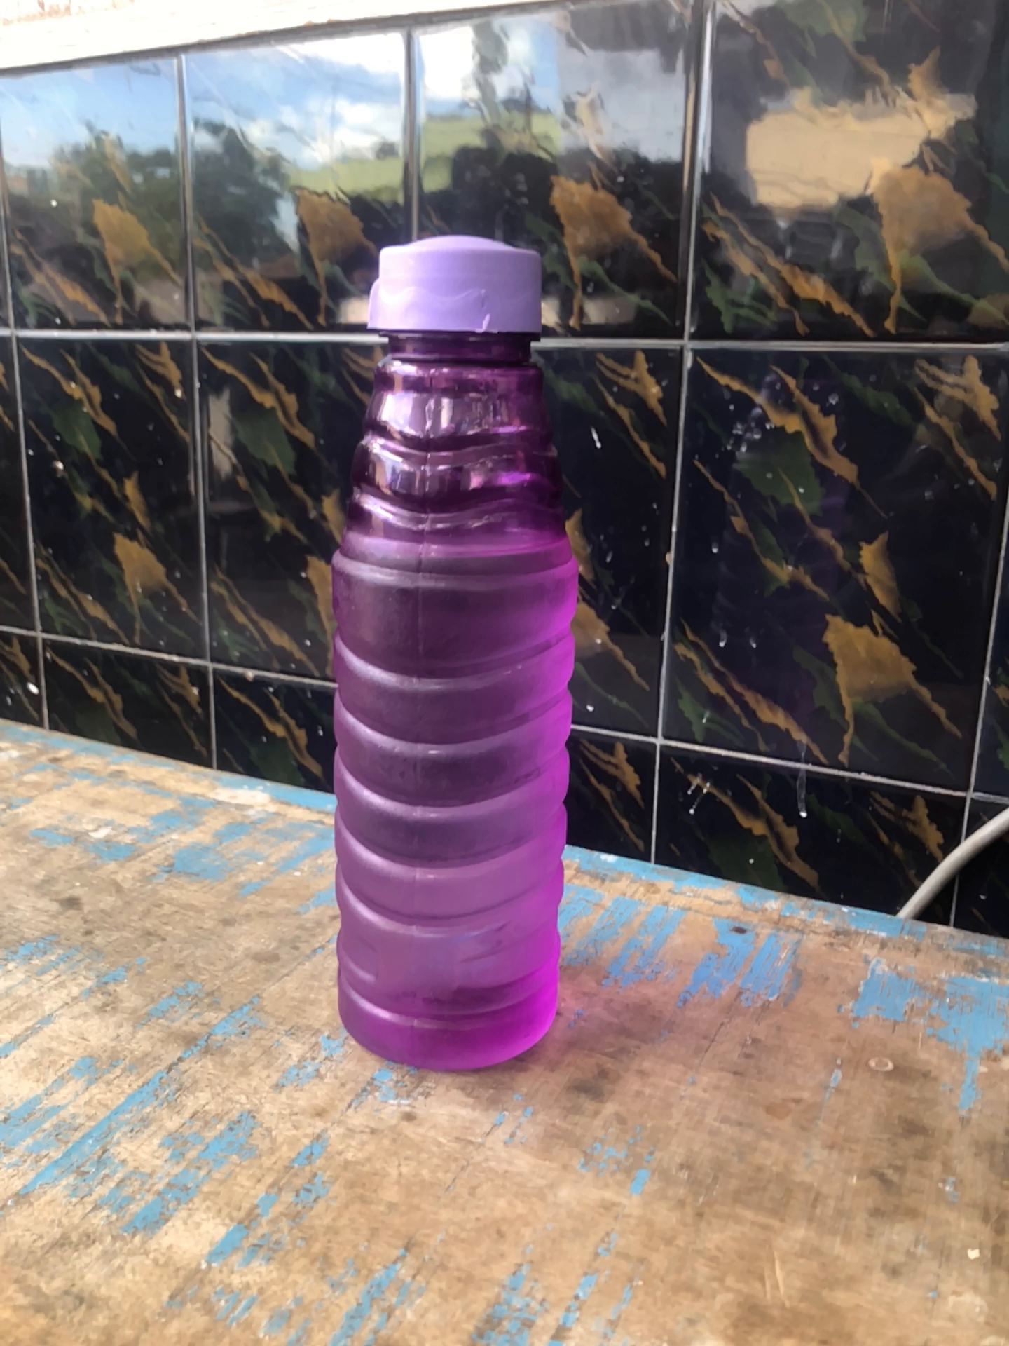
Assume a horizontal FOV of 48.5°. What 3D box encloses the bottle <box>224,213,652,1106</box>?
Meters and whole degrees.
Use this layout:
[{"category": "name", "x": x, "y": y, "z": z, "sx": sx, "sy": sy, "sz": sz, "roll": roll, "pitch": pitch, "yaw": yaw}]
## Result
[{"category": "bottle", "x": -0.019, "y": -0.007, "z": 0.347, "sx": 0.090, "sy": 0.239, "sz": 0.080, "roll": 12, "pitch": 19, "yaw": 35}]
